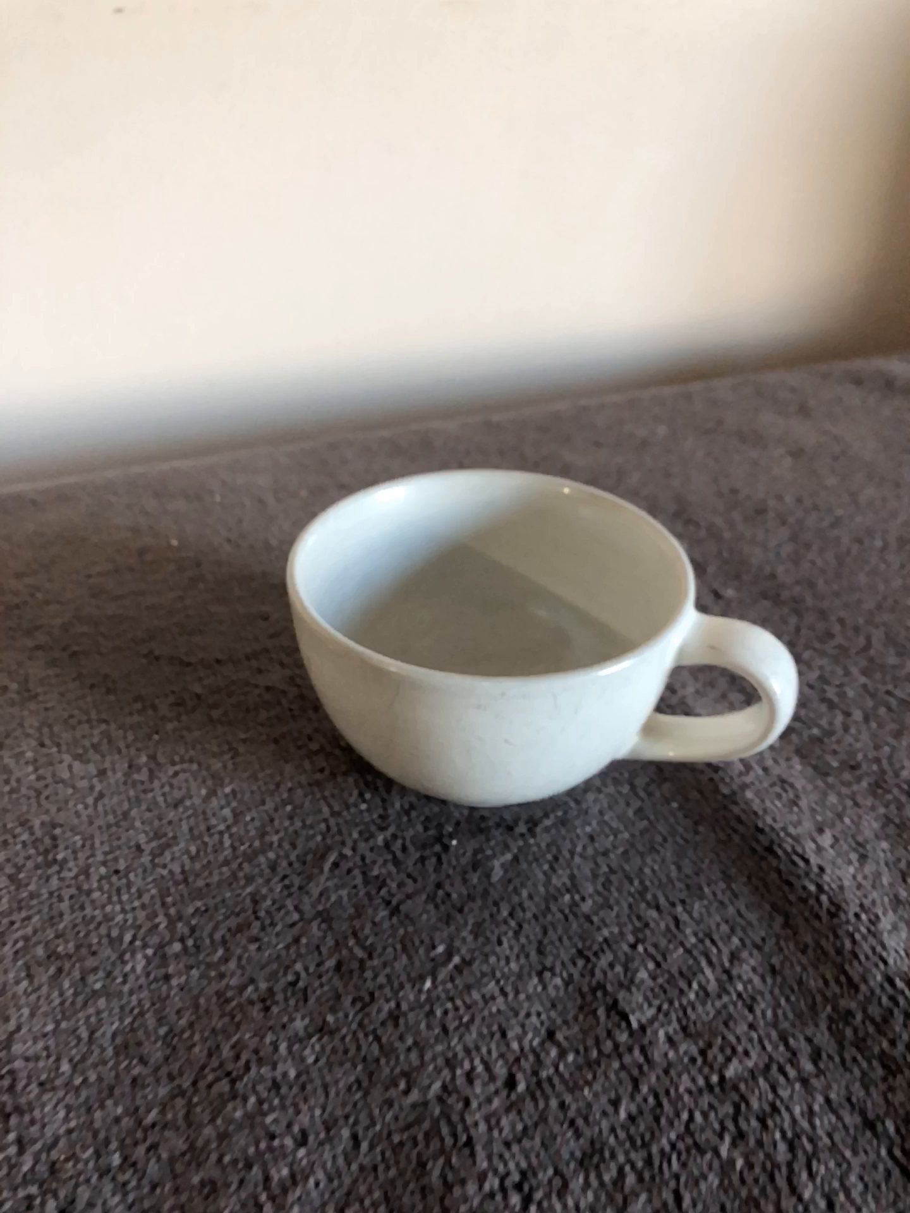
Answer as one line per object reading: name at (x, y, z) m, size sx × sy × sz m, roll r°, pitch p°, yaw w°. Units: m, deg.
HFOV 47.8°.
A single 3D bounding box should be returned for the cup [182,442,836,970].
cup at (0.016, 0.013, 0.242) m, size 0.120 × 0.050 × 0.090 m, roll 15°, pitch 37°, yaw 19°
